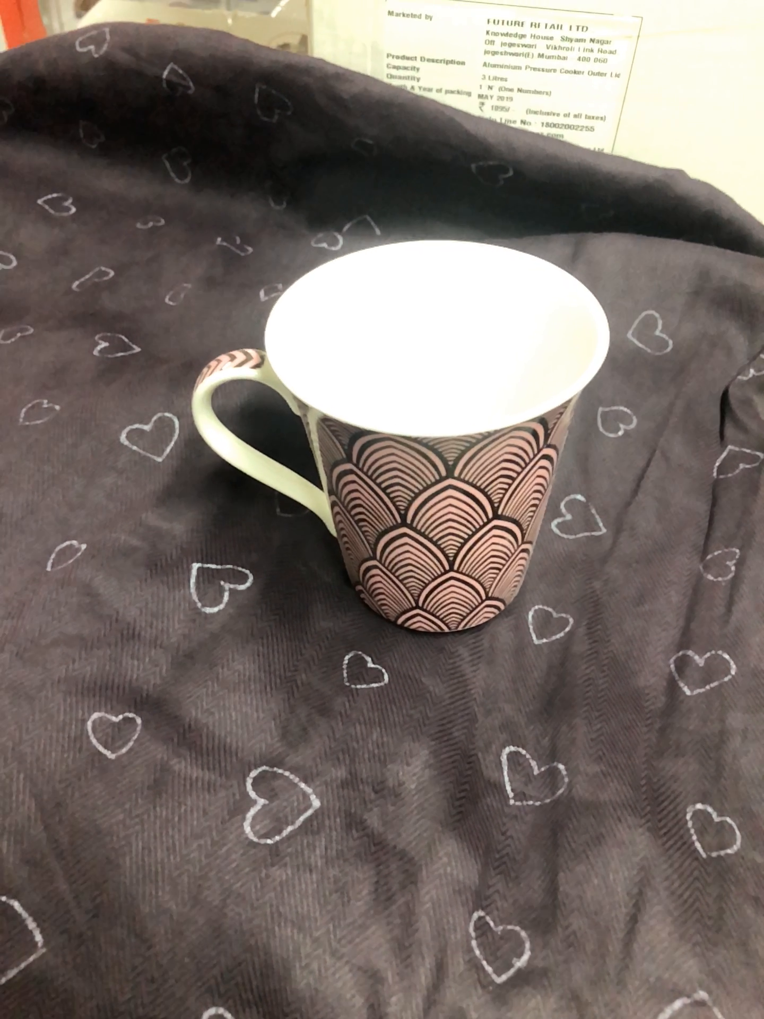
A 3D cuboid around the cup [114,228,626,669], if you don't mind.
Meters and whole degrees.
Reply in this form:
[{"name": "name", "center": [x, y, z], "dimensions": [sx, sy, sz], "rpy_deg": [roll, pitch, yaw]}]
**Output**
[{"name": "cup", "center": [0.001, -0.019, 0.266], "dimensions": [0.120, 0.099, 0.091], "rpy_deg": [1, 46, 4]}]
